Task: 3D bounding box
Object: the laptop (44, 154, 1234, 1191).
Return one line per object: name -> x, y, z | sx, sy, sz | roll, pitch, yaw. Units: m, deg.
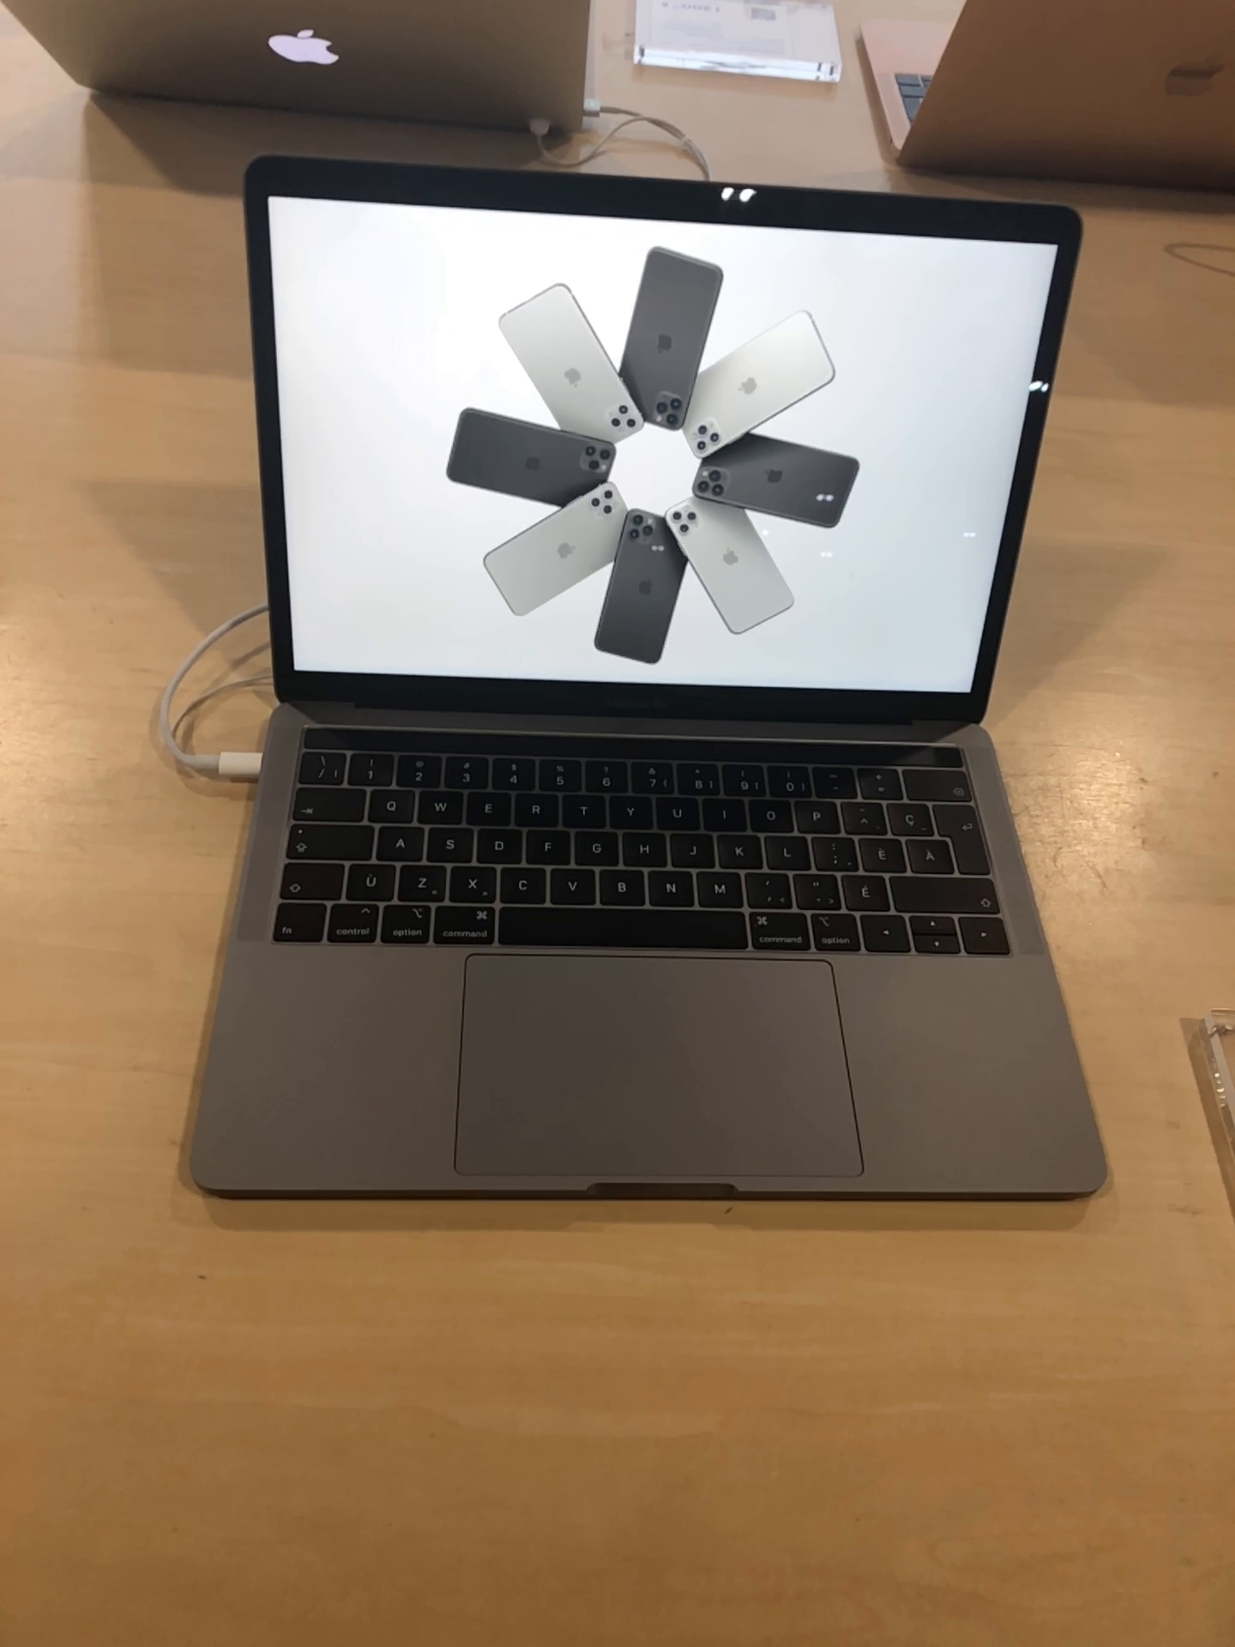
laptop -> 0.013, -0.054, 0.461 | 0.296, 0.181, 0.296 | 2, 51, -6
